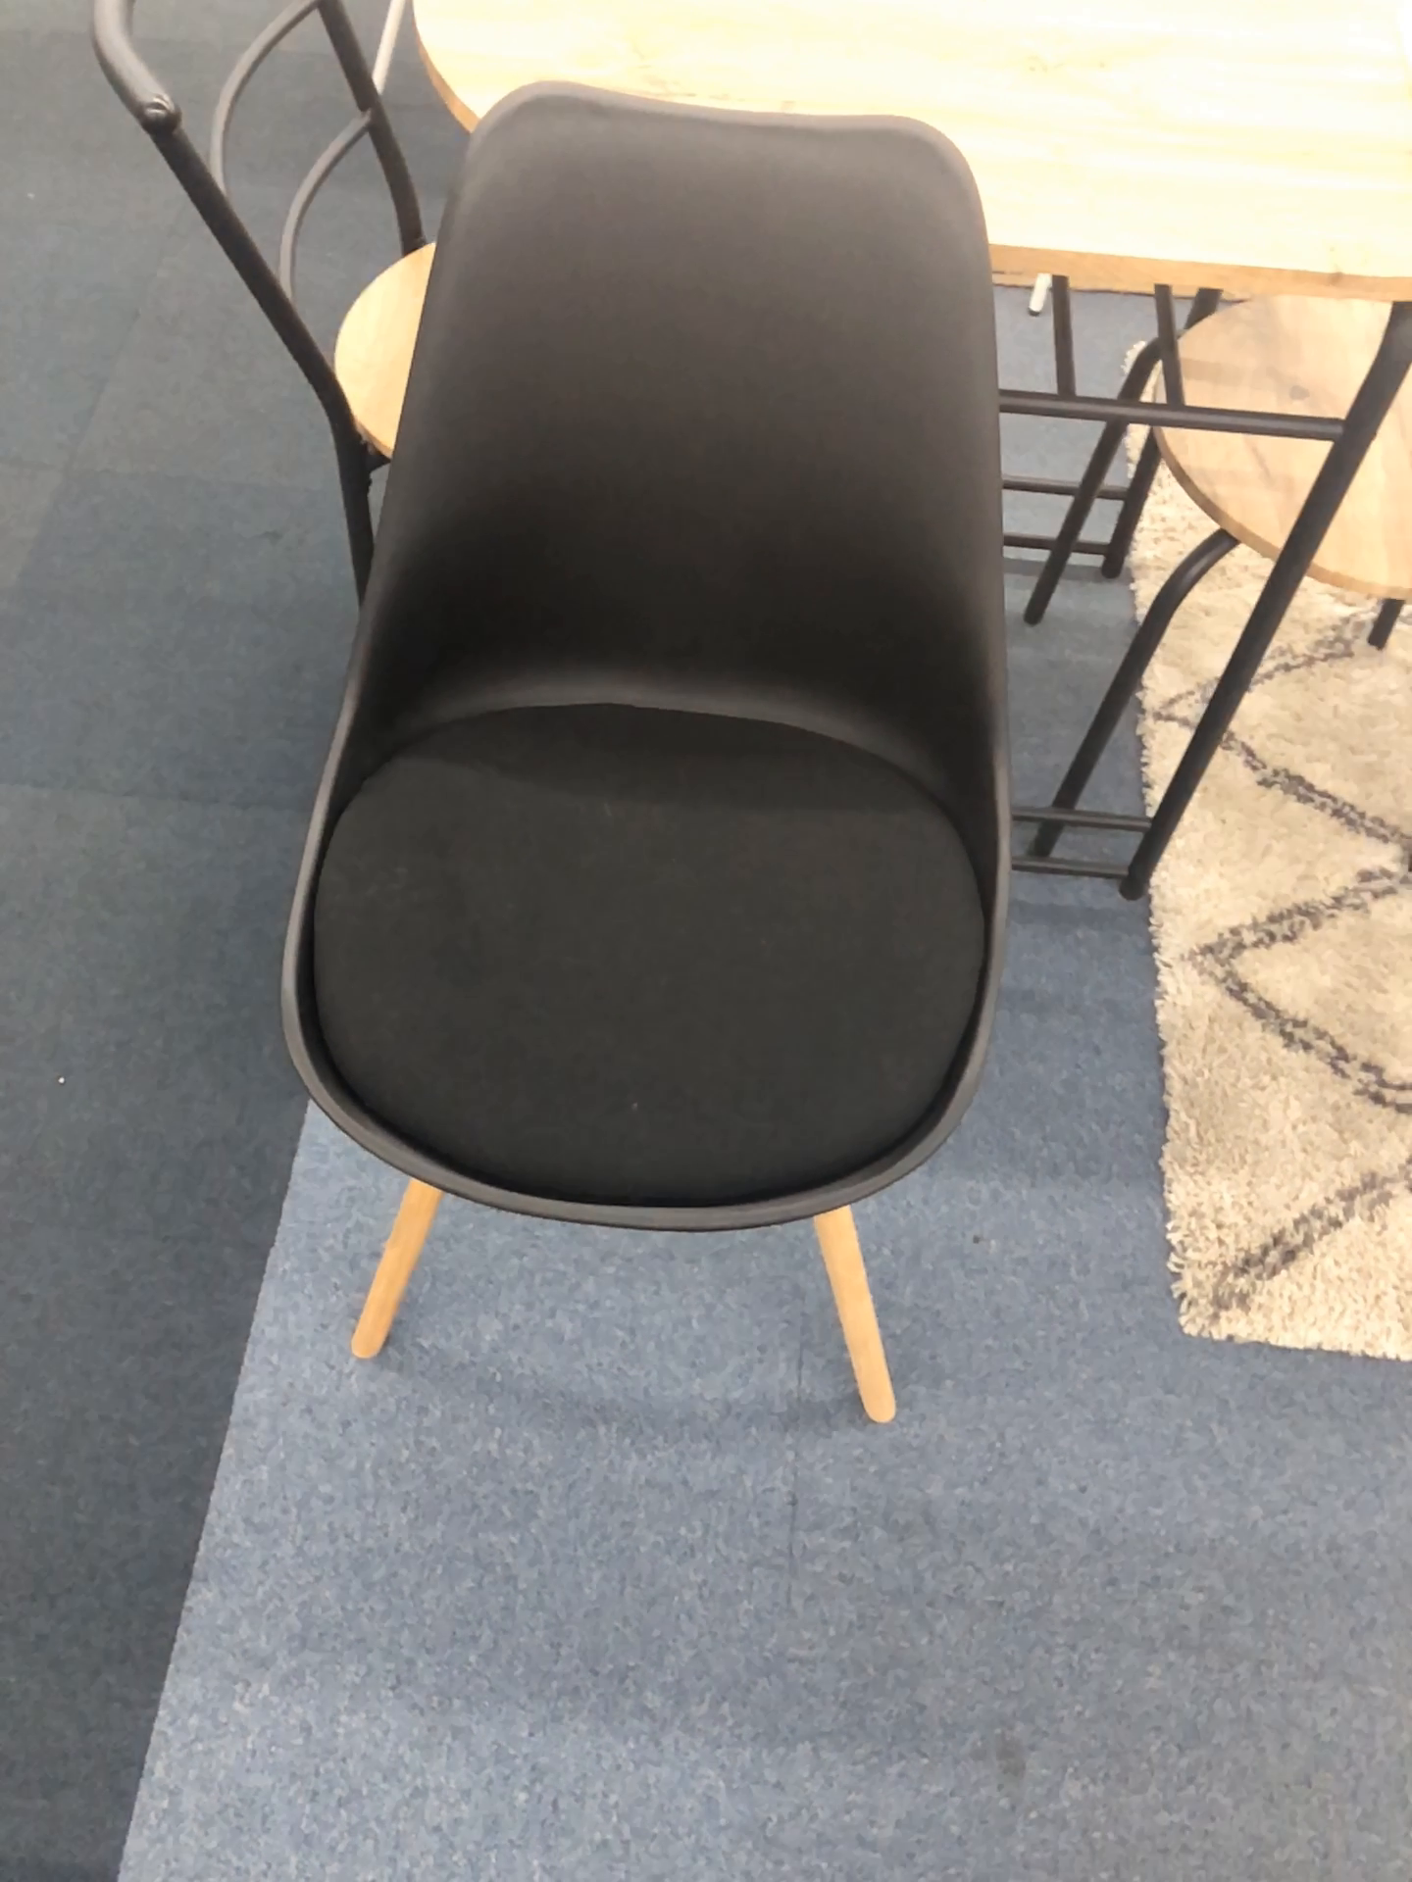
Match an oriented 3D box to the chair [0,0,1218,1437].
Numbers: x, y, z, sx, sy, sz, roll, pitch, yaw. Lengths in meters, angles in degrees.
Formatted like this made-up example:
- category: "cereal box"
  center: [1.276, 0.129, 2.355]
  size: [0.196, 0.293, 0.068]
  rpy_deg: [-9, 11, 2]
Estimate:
- category: "chair"
  center: [-0.046, -0.050, 1.066]
  size: [0.490, 0.858, 0.501]
  rpy_deg: [6, 58, 1]
